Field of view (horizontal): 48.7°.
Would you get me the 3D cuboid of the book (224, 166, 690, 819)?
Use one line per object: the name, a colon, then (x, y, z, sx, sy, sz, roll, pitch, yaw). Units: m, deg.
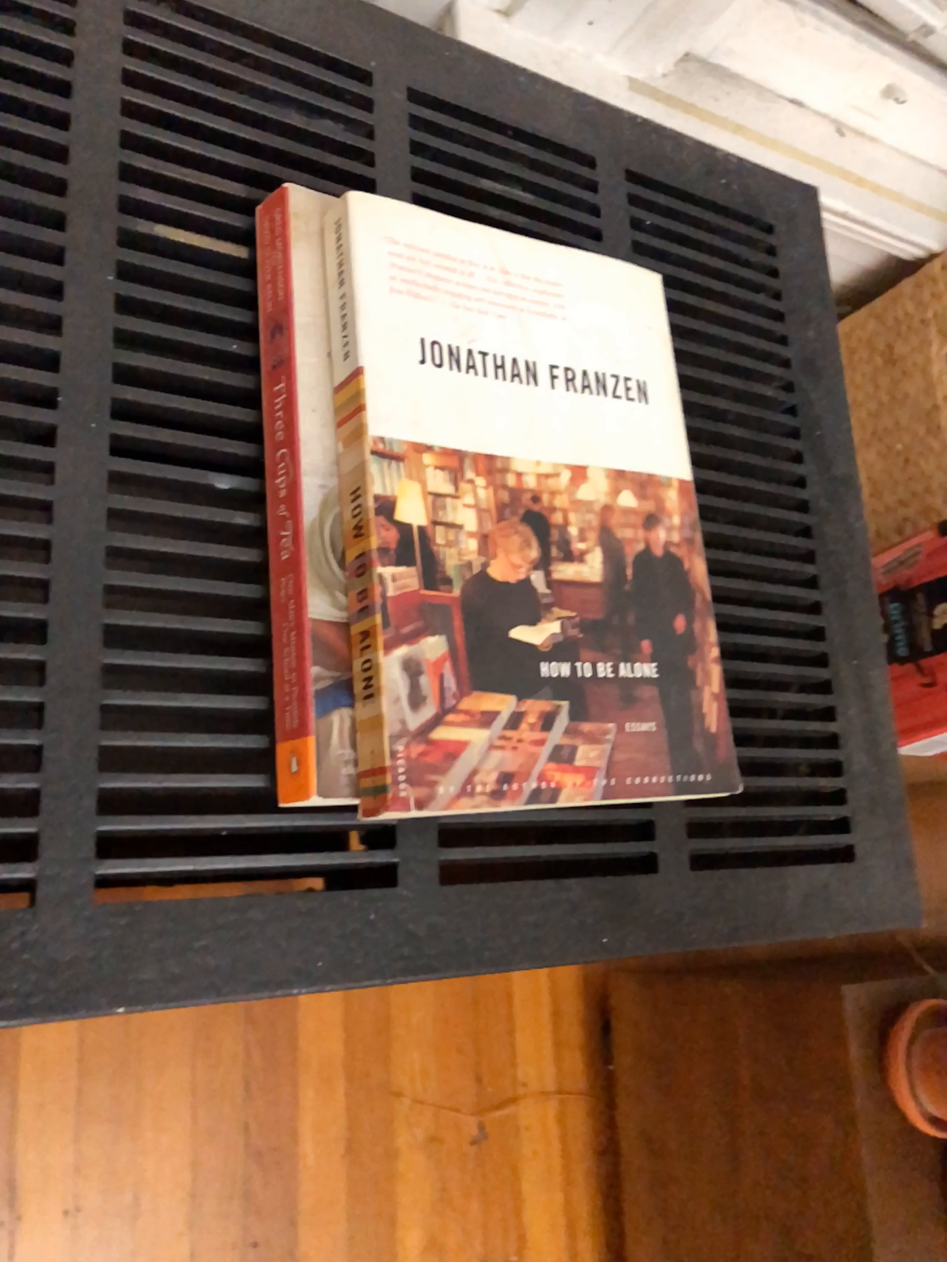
book: (-0.005, -0.046, 0.373, 0.150, 0.030, 0.210, 1, 75, -31)

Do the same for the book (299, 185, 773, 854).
book: (0.023, -0.037, 0.366, 0.150, 0.030, 0.210, 1, 75, -31)
